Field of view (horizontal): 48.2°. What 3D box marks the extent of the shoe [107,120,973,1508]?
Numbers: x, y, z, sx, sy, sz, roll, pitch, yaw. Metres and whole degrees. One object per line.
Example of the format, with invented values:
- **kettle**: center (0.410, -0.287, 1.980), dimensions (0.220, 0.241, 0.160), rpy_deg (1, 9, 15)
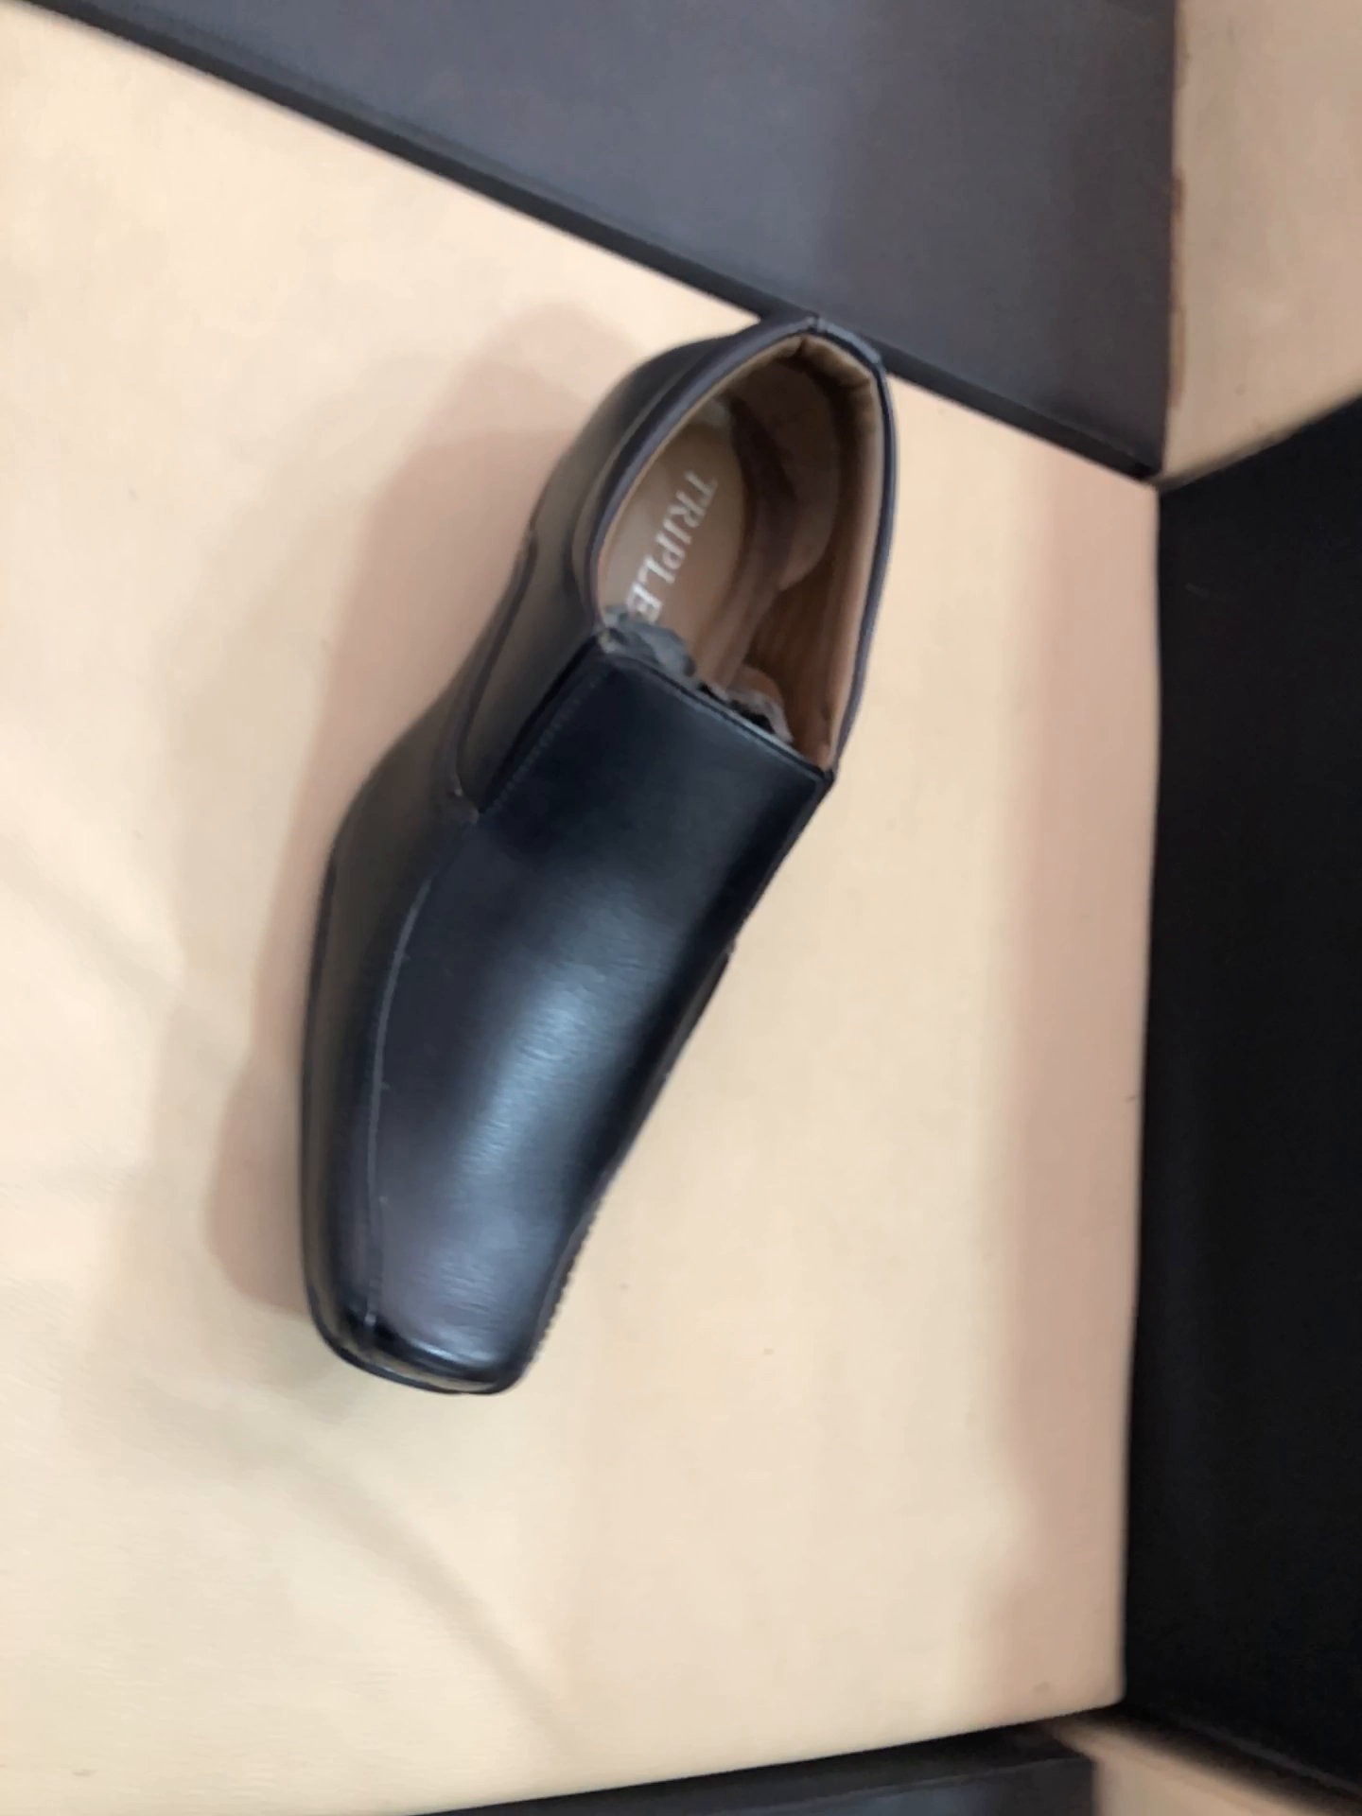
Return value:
- **shoe**: center (-0.029, -0.028, 0.388), dimensions (0.090, 0.099, 0.310), rpy_deg (27, 71, -26)
